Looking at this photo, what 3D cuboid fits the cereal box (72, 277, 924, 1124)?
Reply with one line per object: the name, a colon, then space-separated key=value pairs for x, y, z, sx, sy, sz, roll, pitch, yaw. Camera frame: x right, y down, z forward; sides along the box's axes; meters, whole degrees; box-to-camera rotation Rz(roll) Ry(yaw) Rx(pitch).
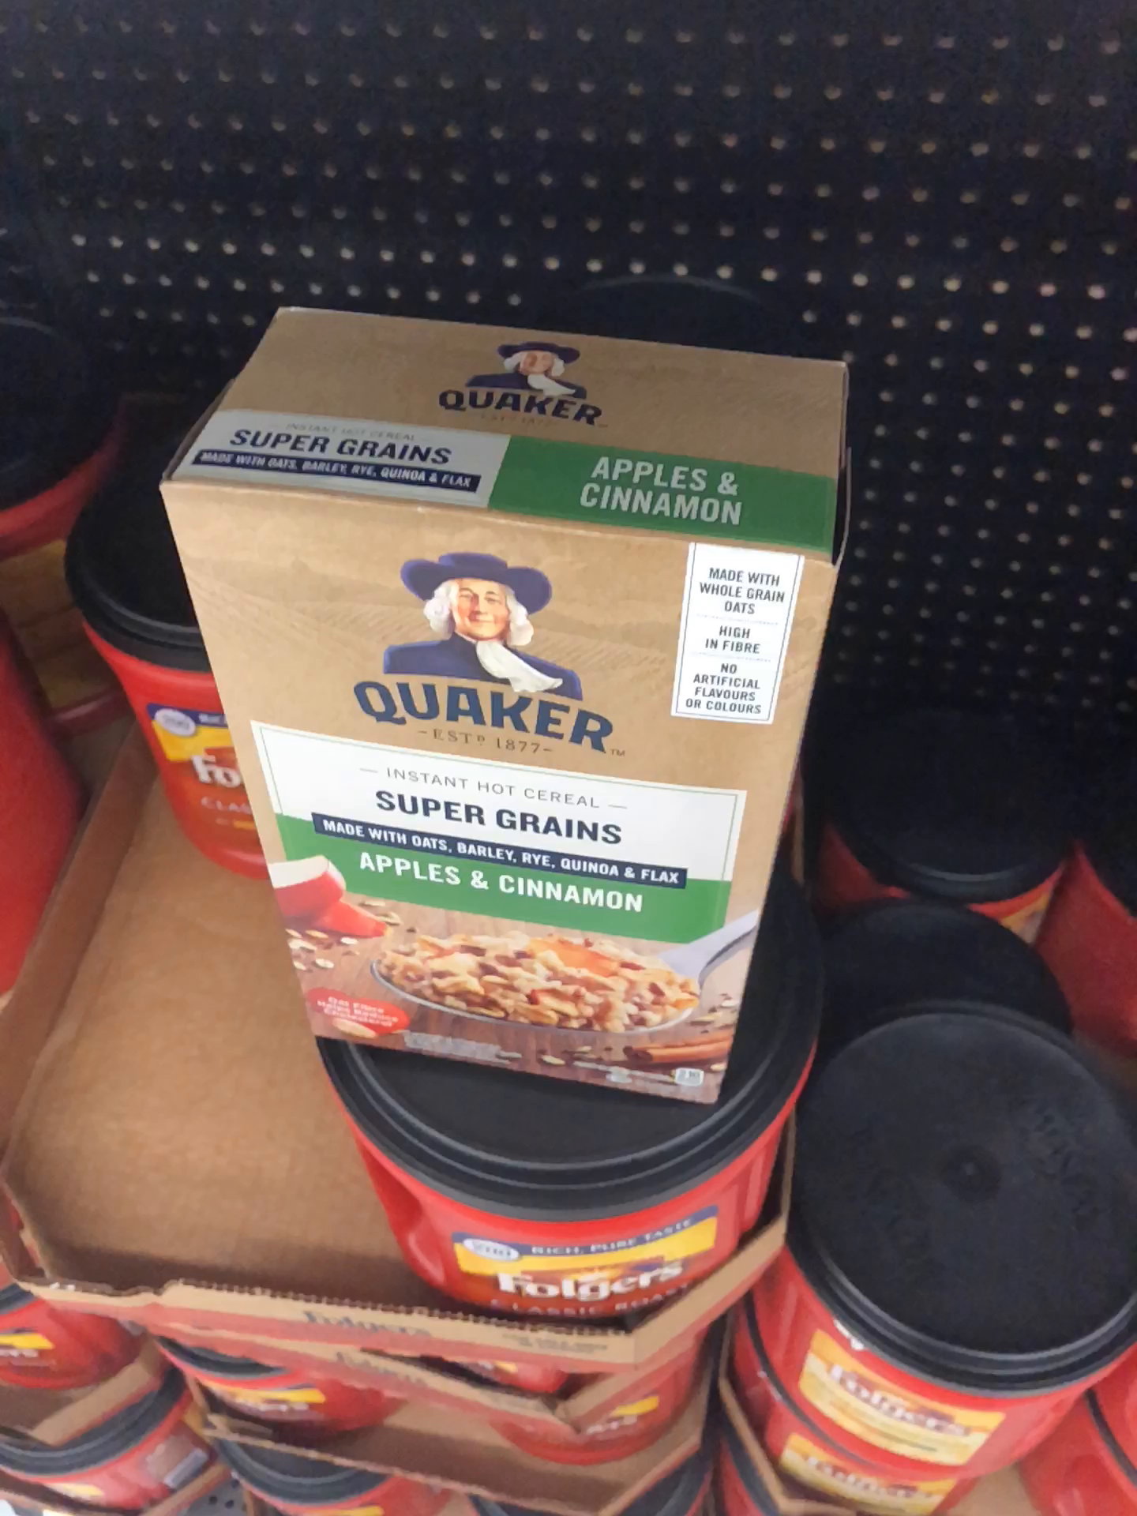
cereal box: x=-0.008 y=0.002 z=0.300 sx=0.140 sy=0.199 sz=0.060 roll=9 pitch=50 yaw=9
